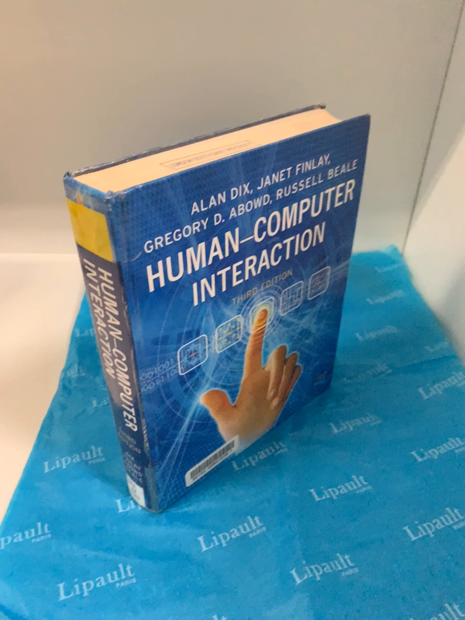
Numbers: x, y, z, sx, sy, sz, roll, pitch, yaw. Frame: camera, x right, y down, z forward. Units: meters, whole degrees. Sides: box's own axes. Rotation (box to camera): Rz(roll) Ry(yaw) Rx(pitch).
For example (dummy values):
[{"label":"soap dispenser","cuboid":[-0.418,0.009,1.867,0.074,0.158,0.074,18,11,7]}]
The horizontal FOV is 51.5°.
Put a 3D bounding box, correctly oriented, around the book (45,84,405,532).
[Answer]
[{"label":"book","cuboid":[0.009,-0.003,0.340,0.221,0.258,0.050,-27,44,-34]}]
